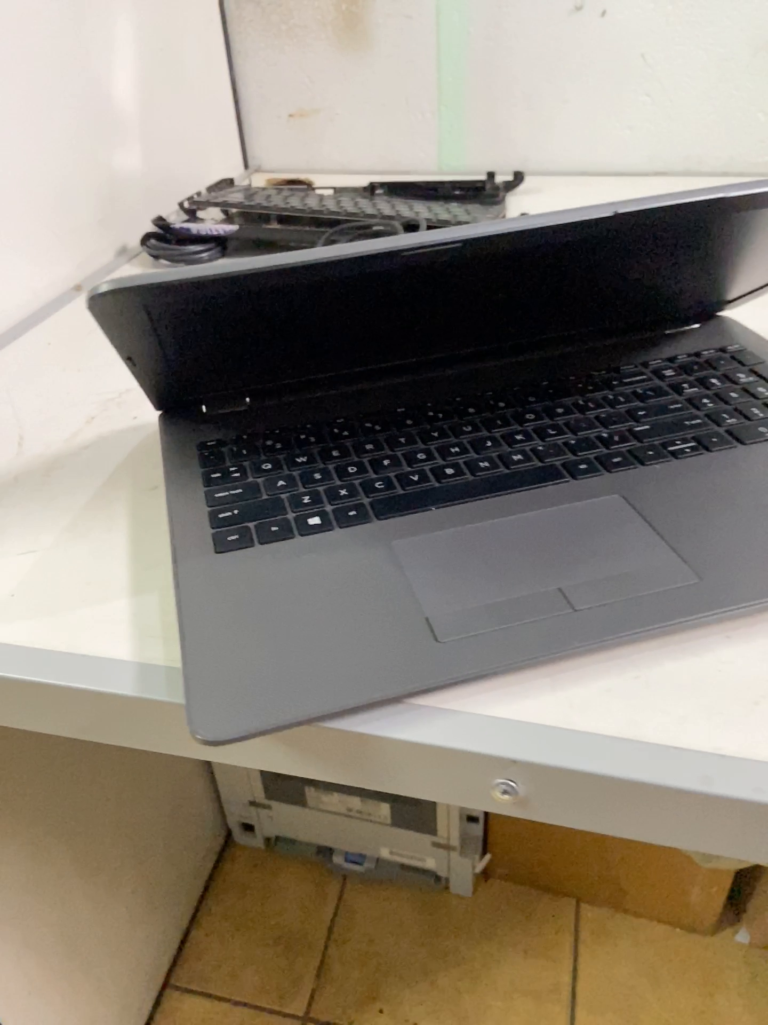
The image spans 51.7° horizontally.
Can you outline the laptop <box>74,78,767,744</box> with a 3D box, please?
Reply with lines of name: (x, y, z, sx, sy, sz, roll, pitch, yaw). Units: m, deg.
laptop: (0.077, -0.085, 0.365, 0.379, 0.141, 0.249, -12, 37, -11)
